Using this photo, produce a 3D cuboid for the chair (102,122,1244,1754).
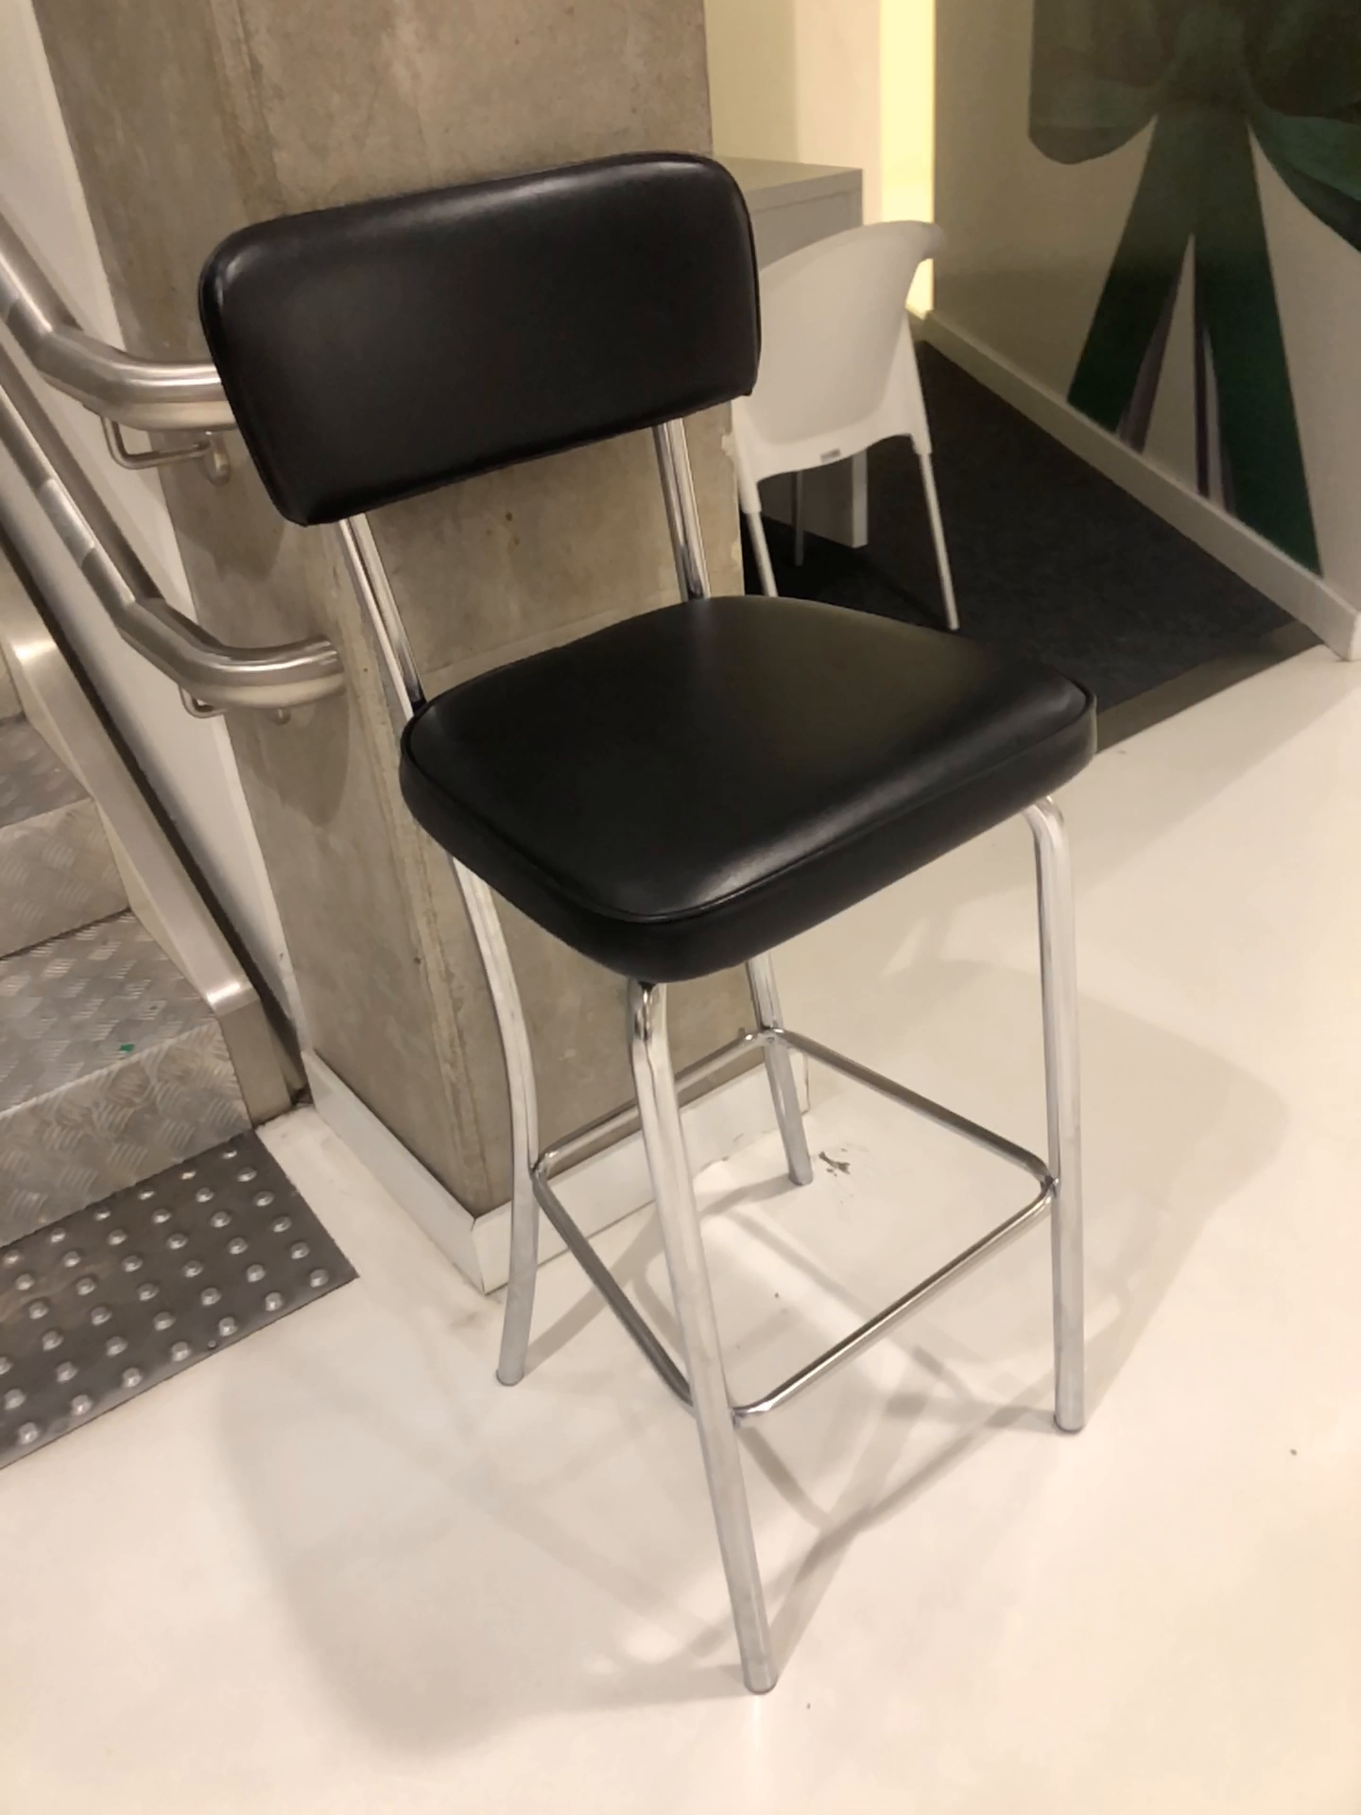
[{"bbox_3d":[0.019,0.021,1.073,0.451,0.982,0.442,-25,37,-28],"label":"chair"}]
